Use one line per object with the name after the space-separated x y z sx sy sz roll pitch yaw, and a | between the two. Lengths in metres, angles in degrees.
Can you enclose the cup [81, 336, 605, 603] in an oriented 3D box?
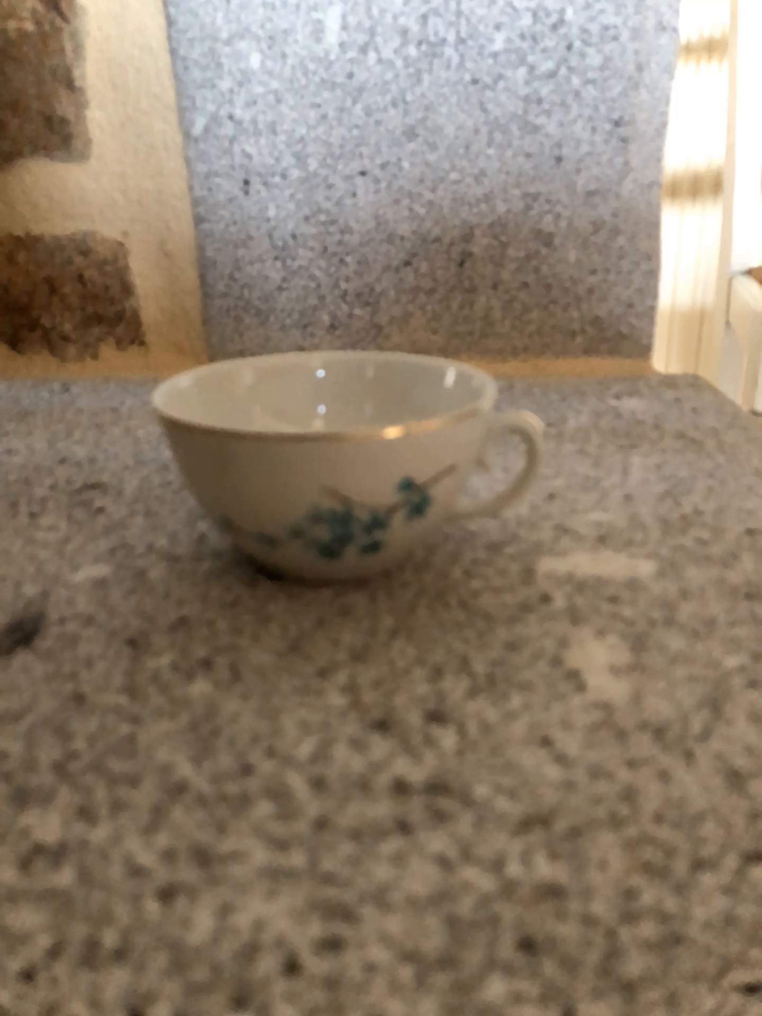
-0.010 -0.017 0.221 0.110 0.040 0.090 -3 21 -4 | cup
